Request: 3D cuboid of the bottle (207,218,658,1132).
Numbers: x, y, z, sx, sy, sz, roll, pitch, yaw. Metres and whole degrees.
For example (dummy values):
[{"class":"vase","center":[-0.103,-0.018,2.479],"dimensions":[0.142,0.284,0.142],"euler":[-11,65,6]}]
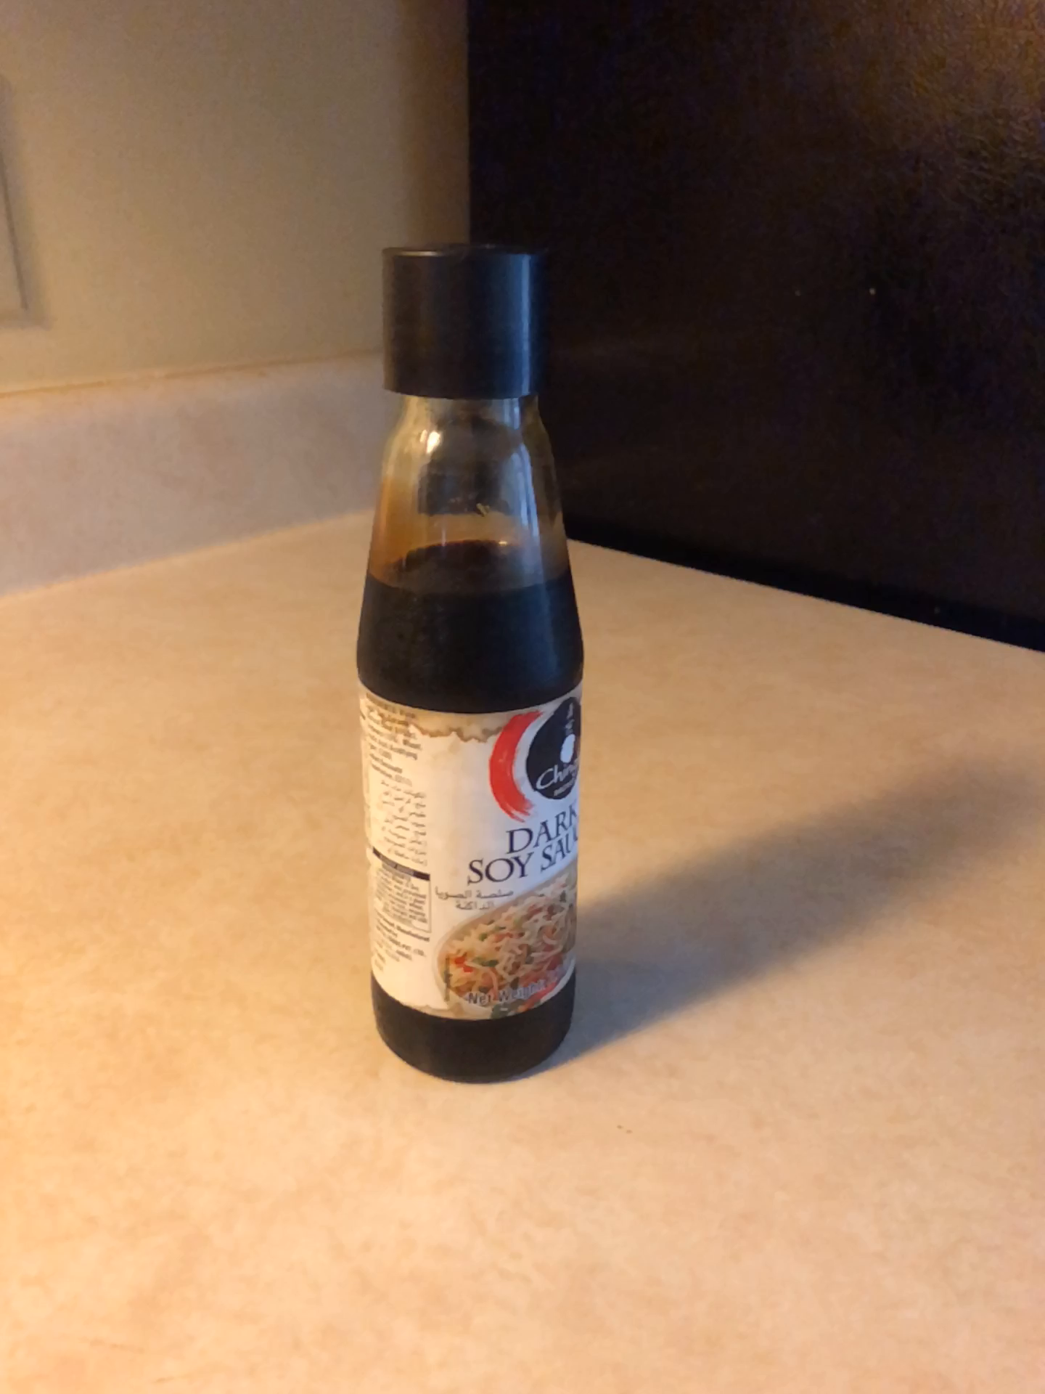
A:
[{"class":"bottle","center":[-0.015,-0.007,0.253],"dimensions":[0.060,0.180,0.060],"euler":[0,22,0]}]
